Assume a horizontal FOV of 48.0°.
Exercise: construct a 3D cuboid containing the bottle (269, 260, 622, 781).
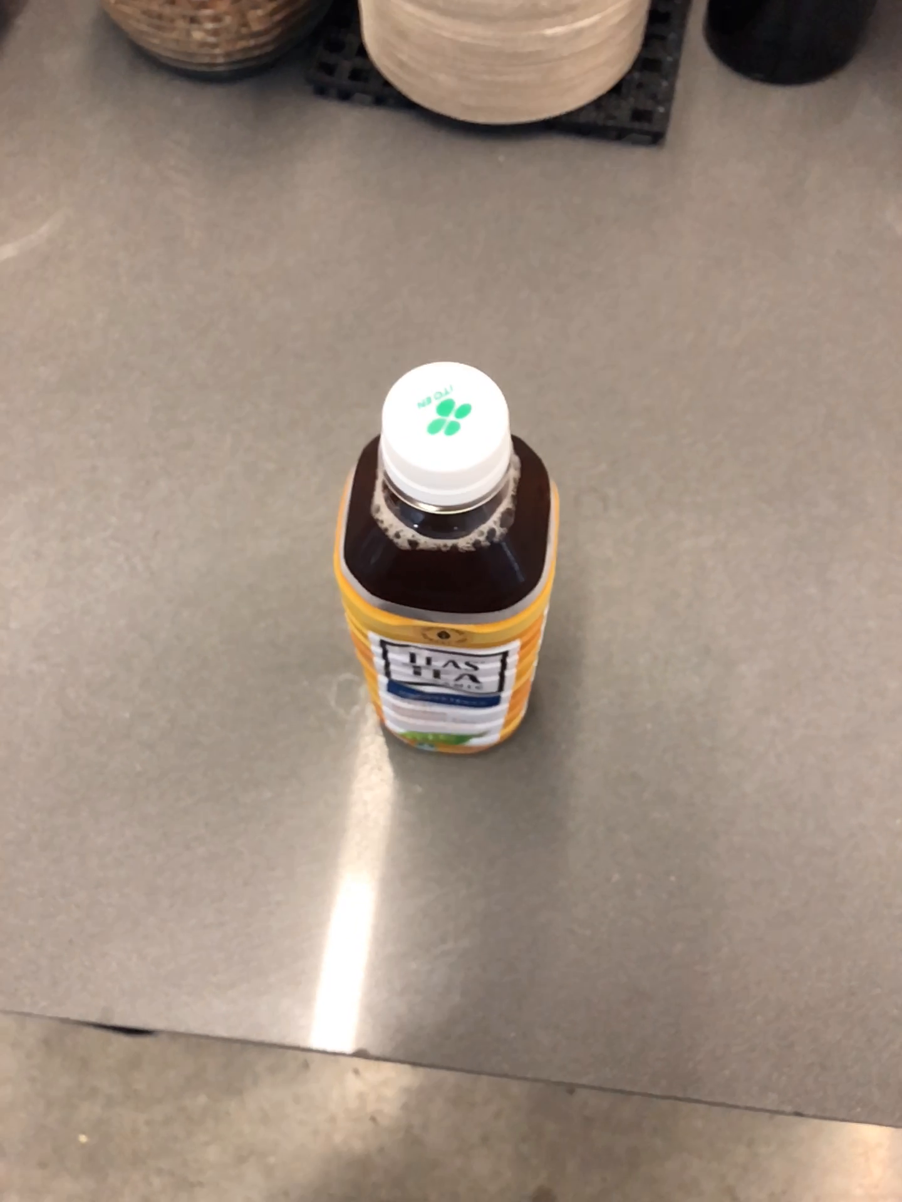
[{"bbox_3d":[0.002,-0.005,0.306,0.070,0.200,0.070,0,67,1],"label":"bottle"}]
